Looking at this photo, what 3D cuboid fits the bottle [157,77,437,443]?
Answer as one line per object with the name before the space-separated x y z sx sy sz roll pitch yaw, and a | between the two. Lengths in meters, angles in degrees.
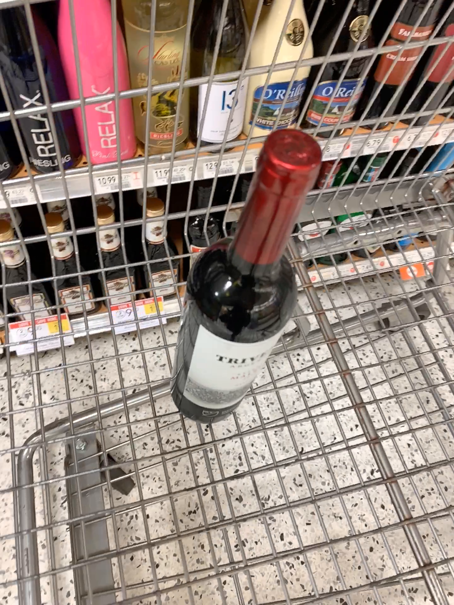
bottle | 0.013 0.005 0.333 0.090 0.298 0.080 -18 64 -21
